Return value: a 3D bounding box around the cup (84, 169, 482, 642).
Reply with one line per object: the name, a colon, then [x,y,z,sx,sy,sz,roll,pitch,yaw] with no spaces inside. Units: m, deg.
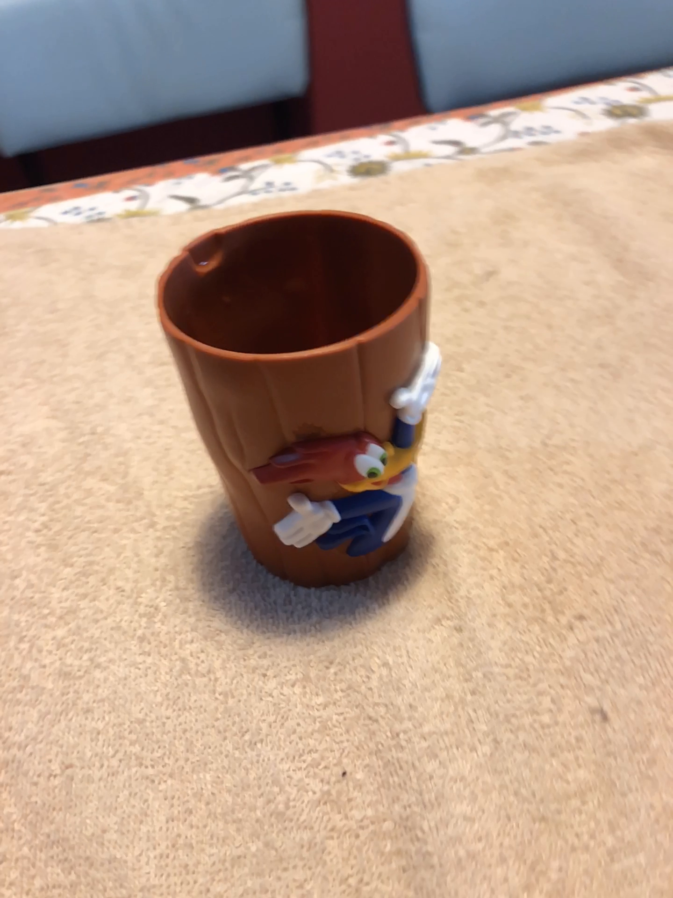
cup: [-0.012,-0.017,0.257,0.080,0.109,0.090,-33,48,-24]
